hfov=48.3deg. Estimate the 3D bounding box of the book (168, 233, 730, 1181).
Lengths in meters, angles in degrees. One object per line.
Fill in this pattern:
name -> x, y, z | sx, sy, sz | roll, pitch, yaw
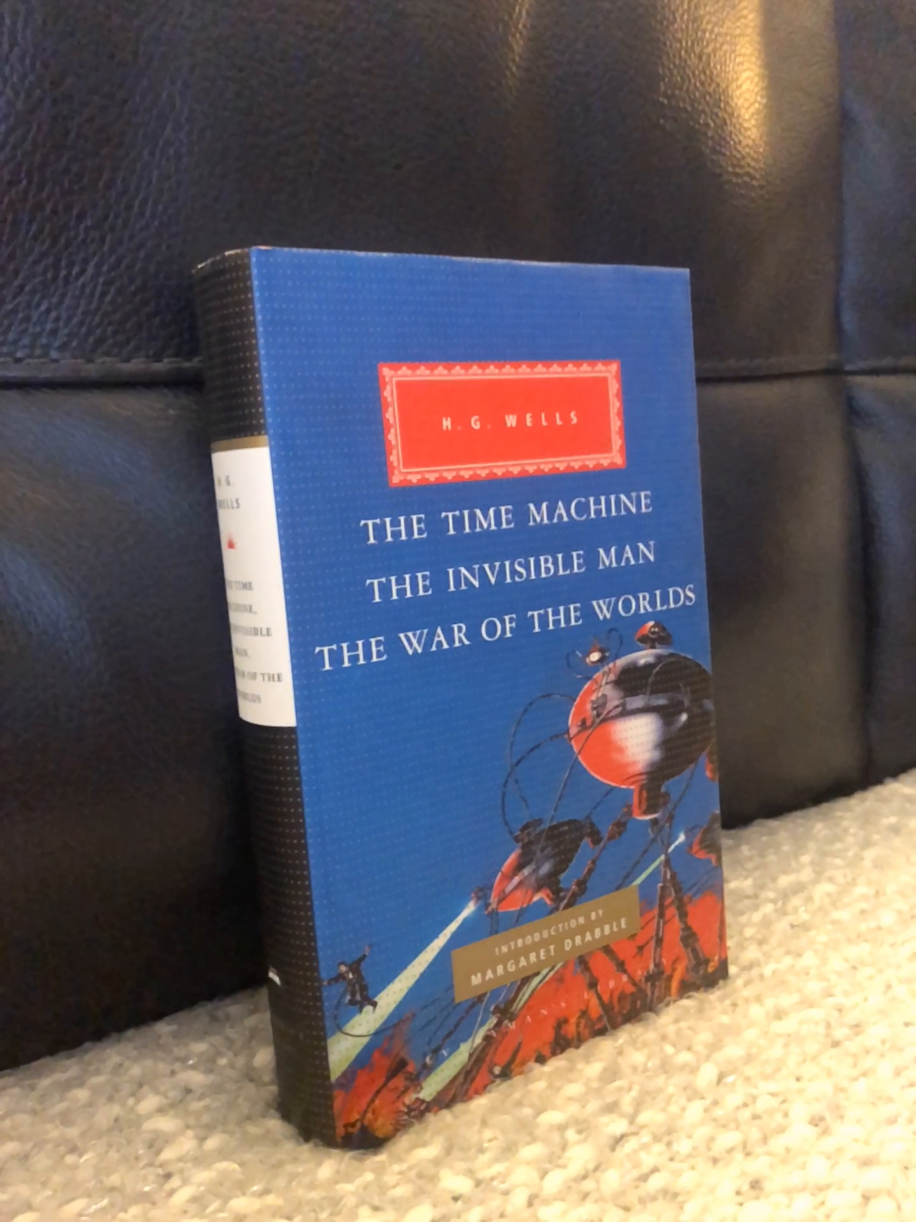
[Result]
book -> 0.008, 0.017, 0.293 | 0.148, 0.226, 0.034 | -10, 8, -33
